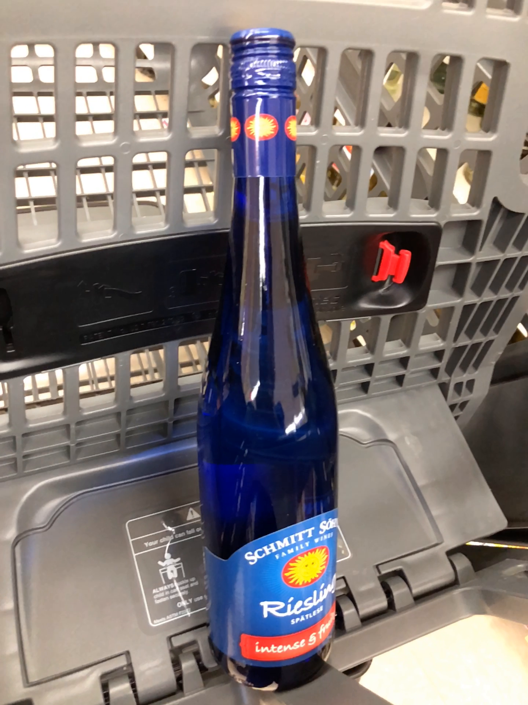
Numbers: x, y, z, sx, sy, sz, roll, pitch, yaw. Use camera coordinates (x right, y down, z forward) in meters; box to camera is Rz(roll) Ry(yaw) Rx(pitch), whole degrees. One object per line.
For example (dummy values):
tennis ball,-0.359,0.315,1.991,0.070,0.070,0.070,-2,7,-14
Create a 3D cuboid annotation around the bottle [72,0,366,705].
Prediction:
bottle,-0.017,0.017,0.314,0.100,0.100,0.350,-11,109,-26
